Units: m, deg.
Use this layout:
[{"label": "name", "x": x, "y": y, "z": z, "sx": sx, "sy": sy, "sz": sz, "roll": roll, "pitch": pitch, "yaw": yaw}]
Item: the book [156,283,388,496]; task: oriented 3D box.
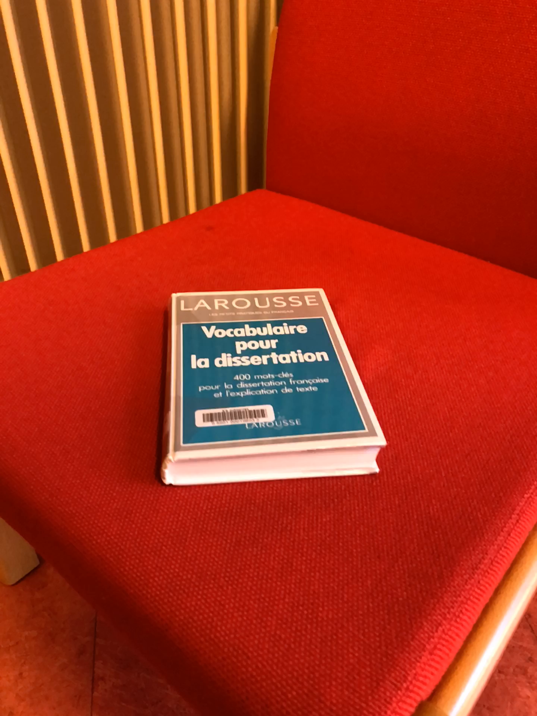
[{"label": "book", "x": -0.008, "y": 0.009, "z": 0.435, "sx": 0.137, "sy": 0.030, "sz": 0.199, "roll": -4, "pitch": 36, "yaw": -6}]
